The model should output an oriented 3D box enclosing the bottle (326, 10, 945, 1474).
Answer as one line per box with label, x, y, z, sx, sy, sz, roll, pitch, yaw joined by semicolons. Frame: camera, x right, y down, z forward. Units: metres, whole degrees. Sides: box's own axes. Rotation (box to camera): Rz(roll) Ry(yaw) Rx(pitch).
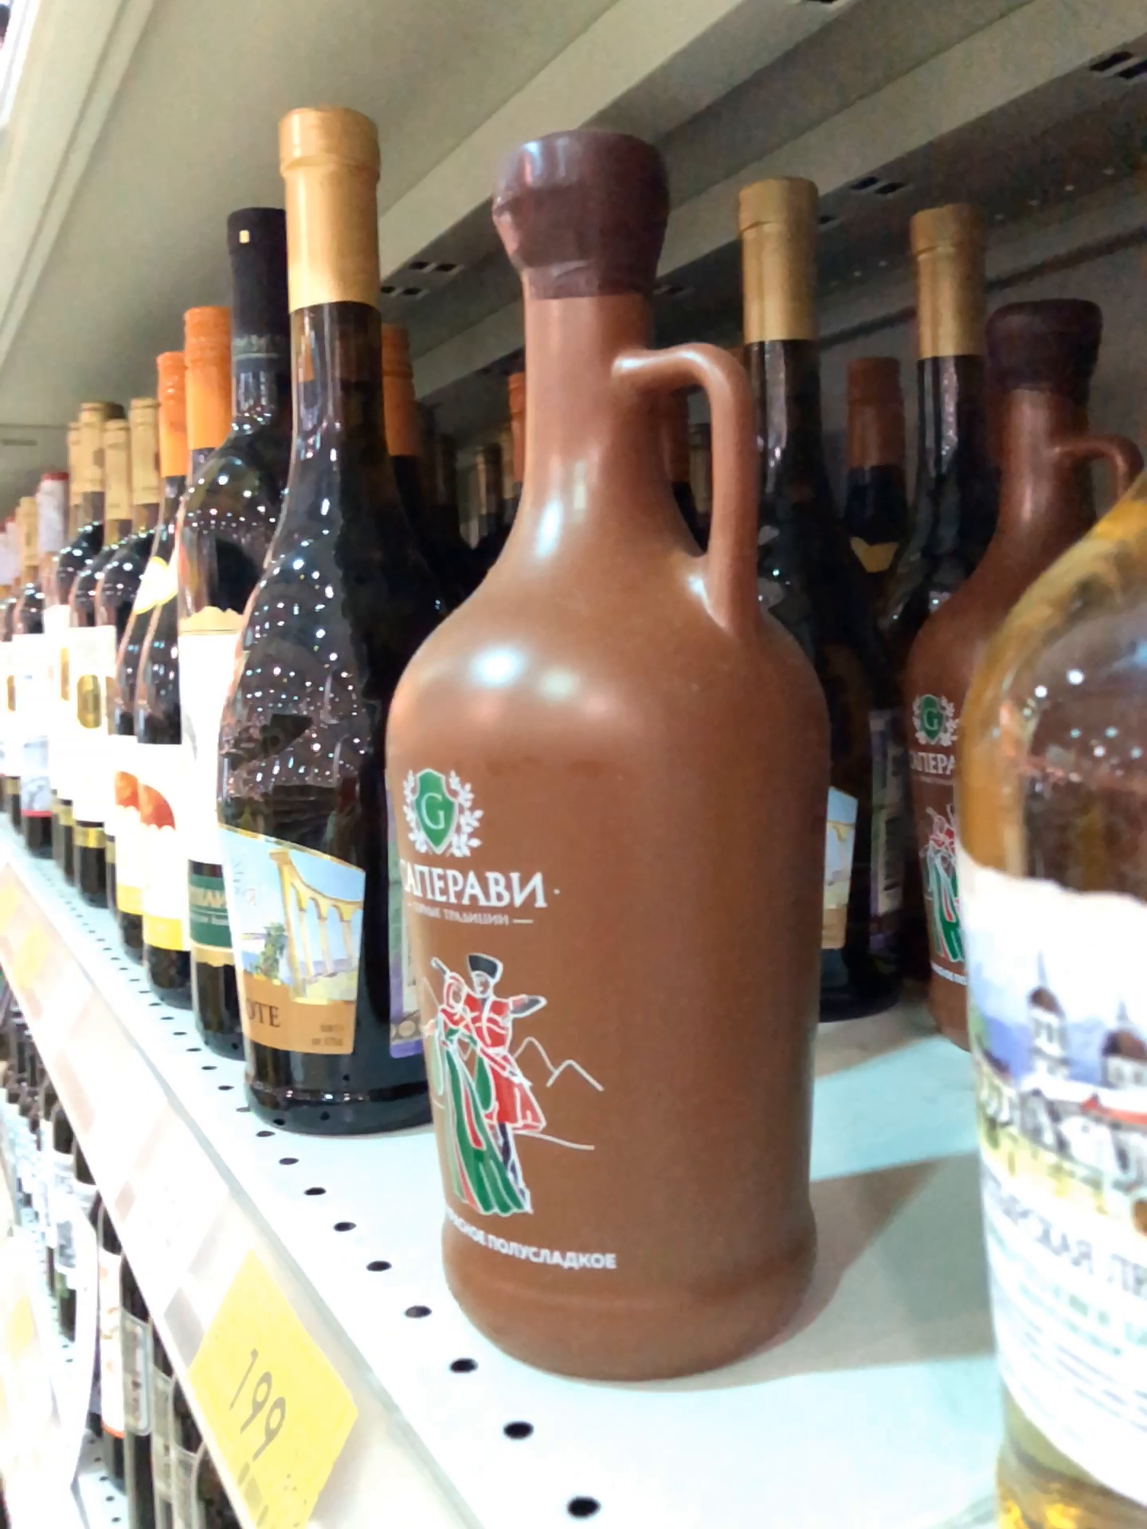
bottle;0.015;-0.004;0.278;0.090;0.250;0.090;-2;4;0
